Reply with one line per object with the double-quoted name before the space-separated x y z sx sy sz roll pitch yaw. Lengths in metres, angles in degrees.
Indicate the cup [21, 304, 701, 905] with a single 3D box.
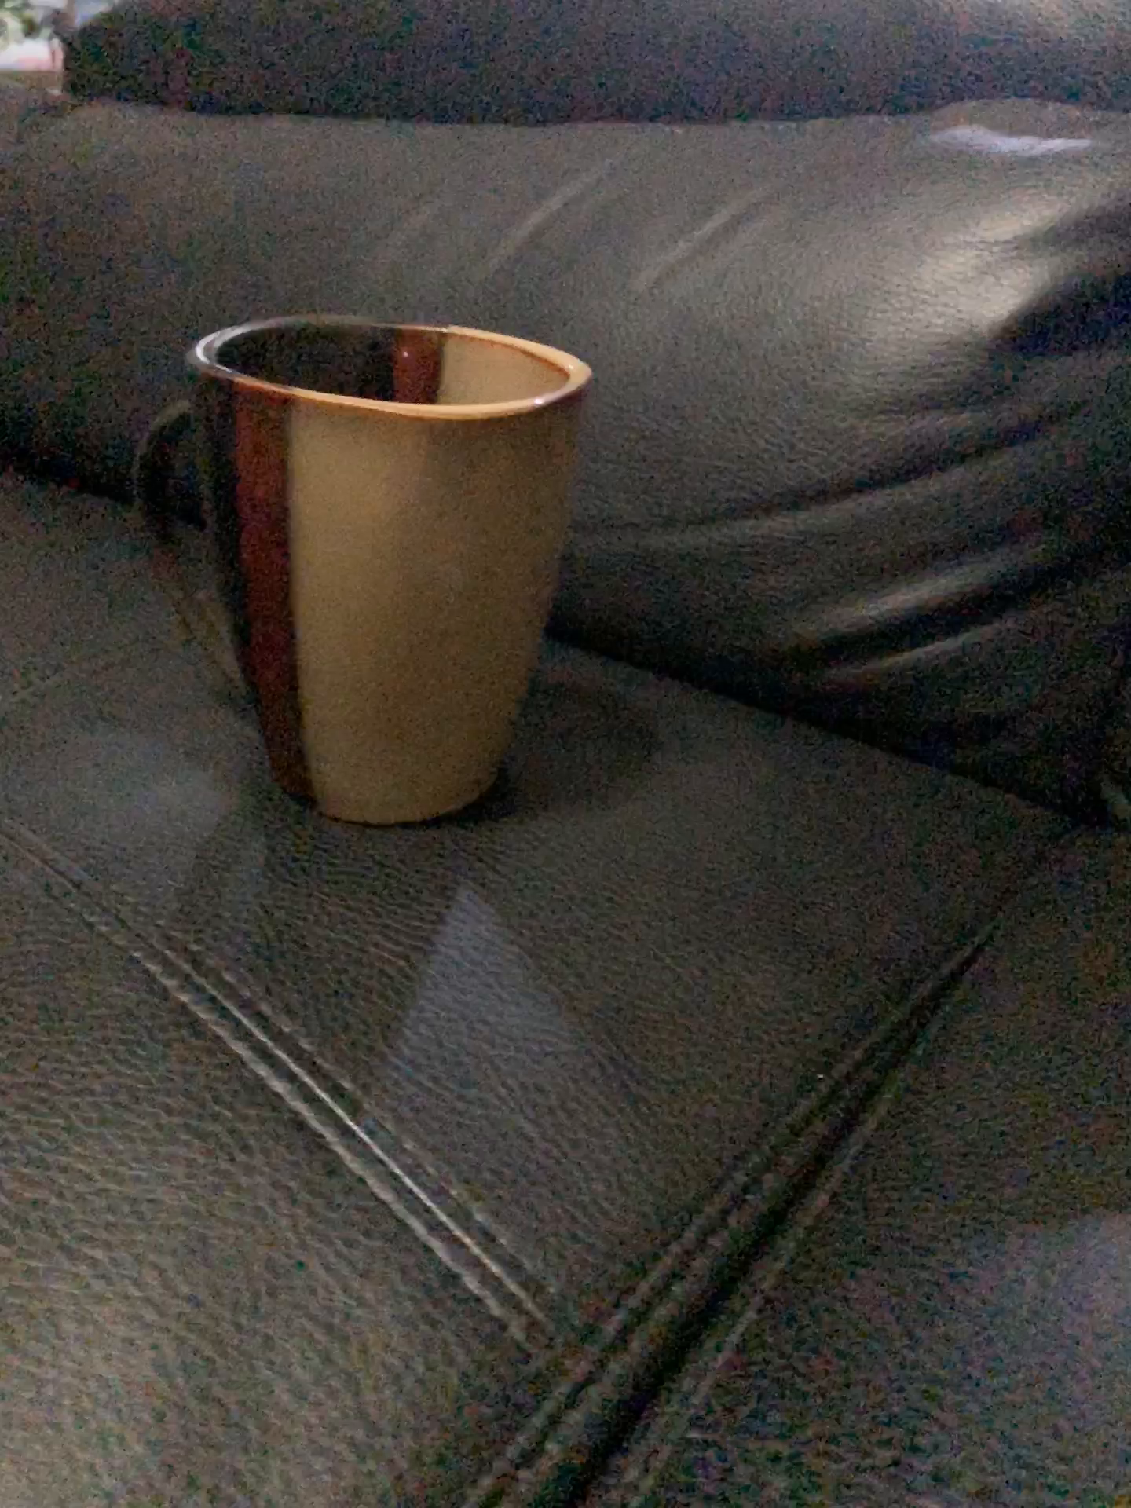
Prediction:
"cup" -0.050 -0.050 0.322 0.138 0.109 0.098 16 32 19
